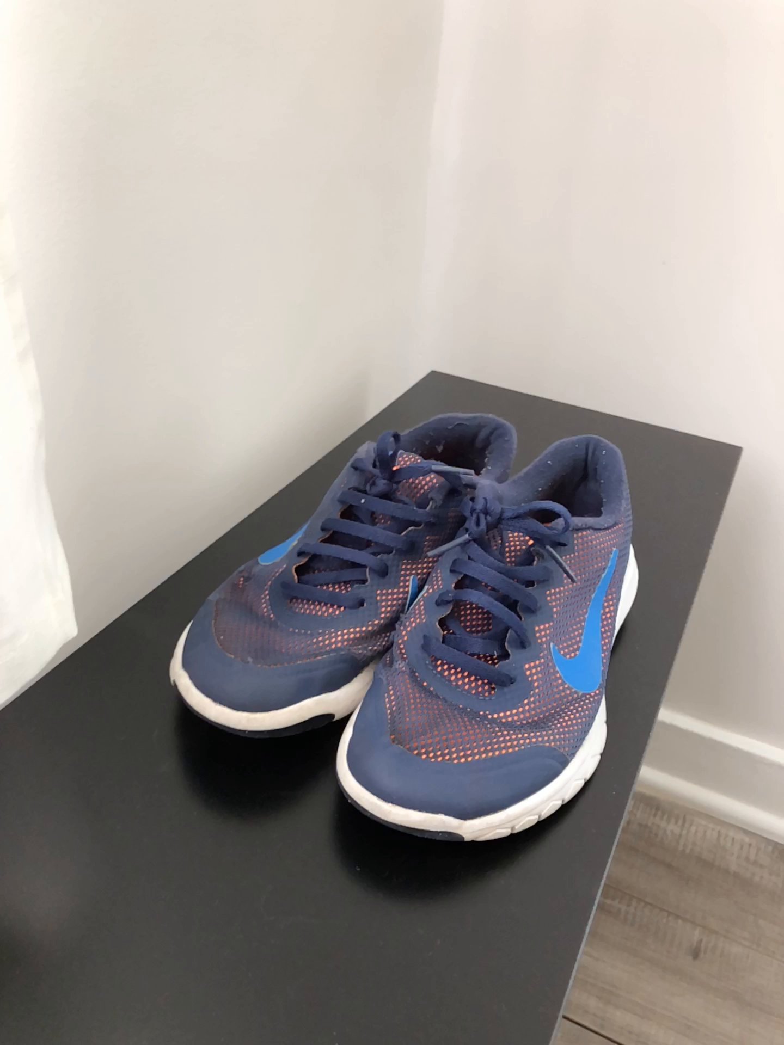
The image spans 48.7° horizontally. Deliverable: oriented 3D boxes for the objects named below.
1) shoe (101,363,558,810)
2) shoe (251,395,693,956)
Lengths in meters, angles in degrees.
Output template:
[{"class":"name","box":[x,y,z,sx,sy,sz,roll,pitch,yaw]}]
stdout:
[{"class":"shoe","box":[-0.013,0.008,0.448,0.100,0.089,0.261,19,34,22]},{"class":"shoe","box":[0.054,0.039,0.403,0.120,0.089,0.261,16,33,17]}]
